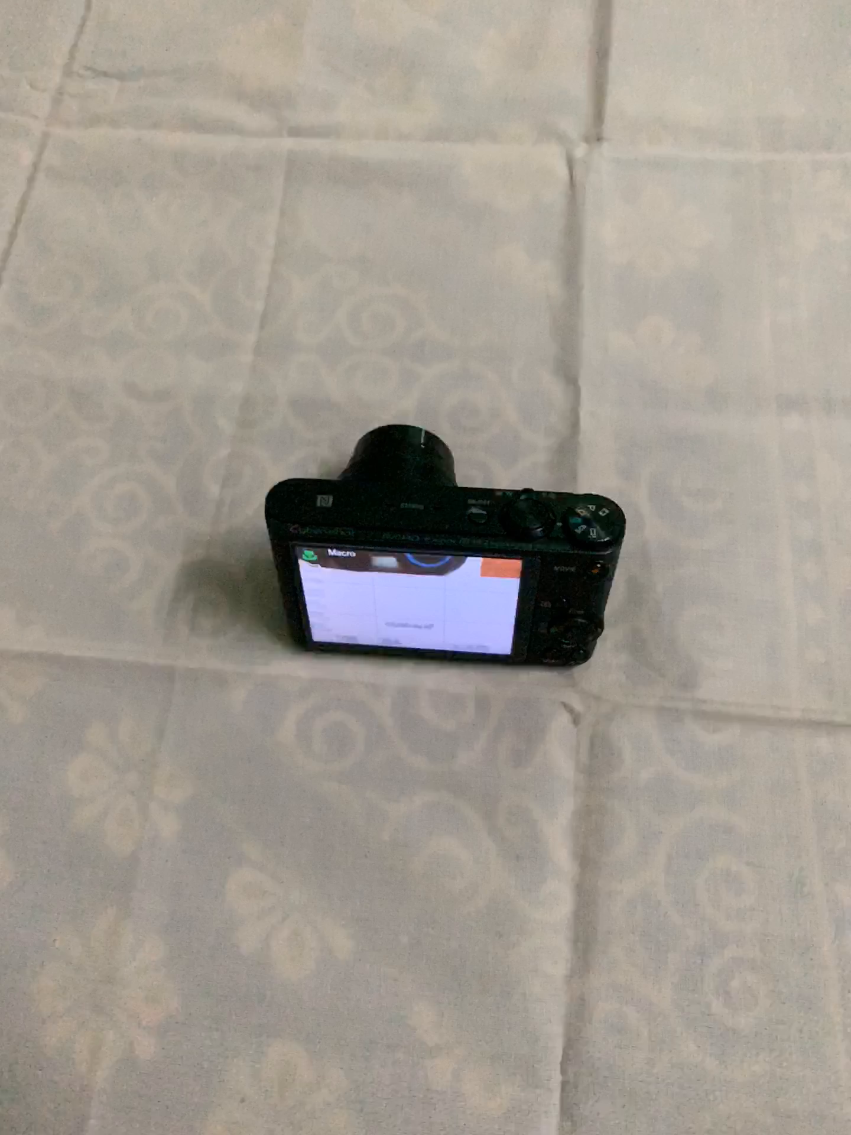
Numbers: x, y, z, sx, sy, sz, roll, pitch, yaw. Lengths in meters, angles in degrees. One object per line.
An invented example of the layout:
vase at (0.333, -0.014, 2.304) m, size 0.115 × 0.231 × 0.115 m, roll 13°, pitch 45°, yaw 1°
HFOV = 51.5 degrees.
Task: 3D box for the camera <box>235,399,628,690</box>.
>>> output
camera at (0.004, -0.006, 0.265) m, size 0.100 × 0.060 × 0.058 m, roll 3°, pitch 57°, yaw 3°
